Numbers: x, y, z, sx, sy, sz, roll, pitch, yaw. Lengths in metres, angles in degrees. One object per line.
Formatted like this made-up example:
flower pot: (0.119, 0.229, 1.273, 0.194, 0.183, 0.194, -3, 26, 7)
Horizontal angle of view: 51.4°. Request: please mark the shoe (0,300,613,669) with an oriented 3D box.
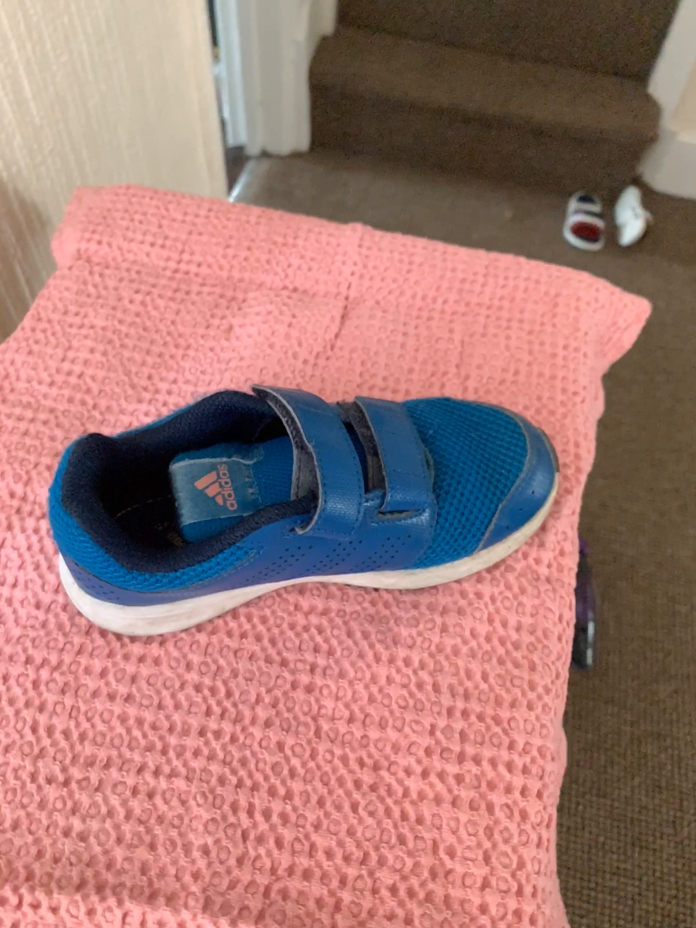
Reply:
shoe: (-0.019, 0.006, 0.292, 0.207, 0.075, 0.085, -11, 57, -10)
